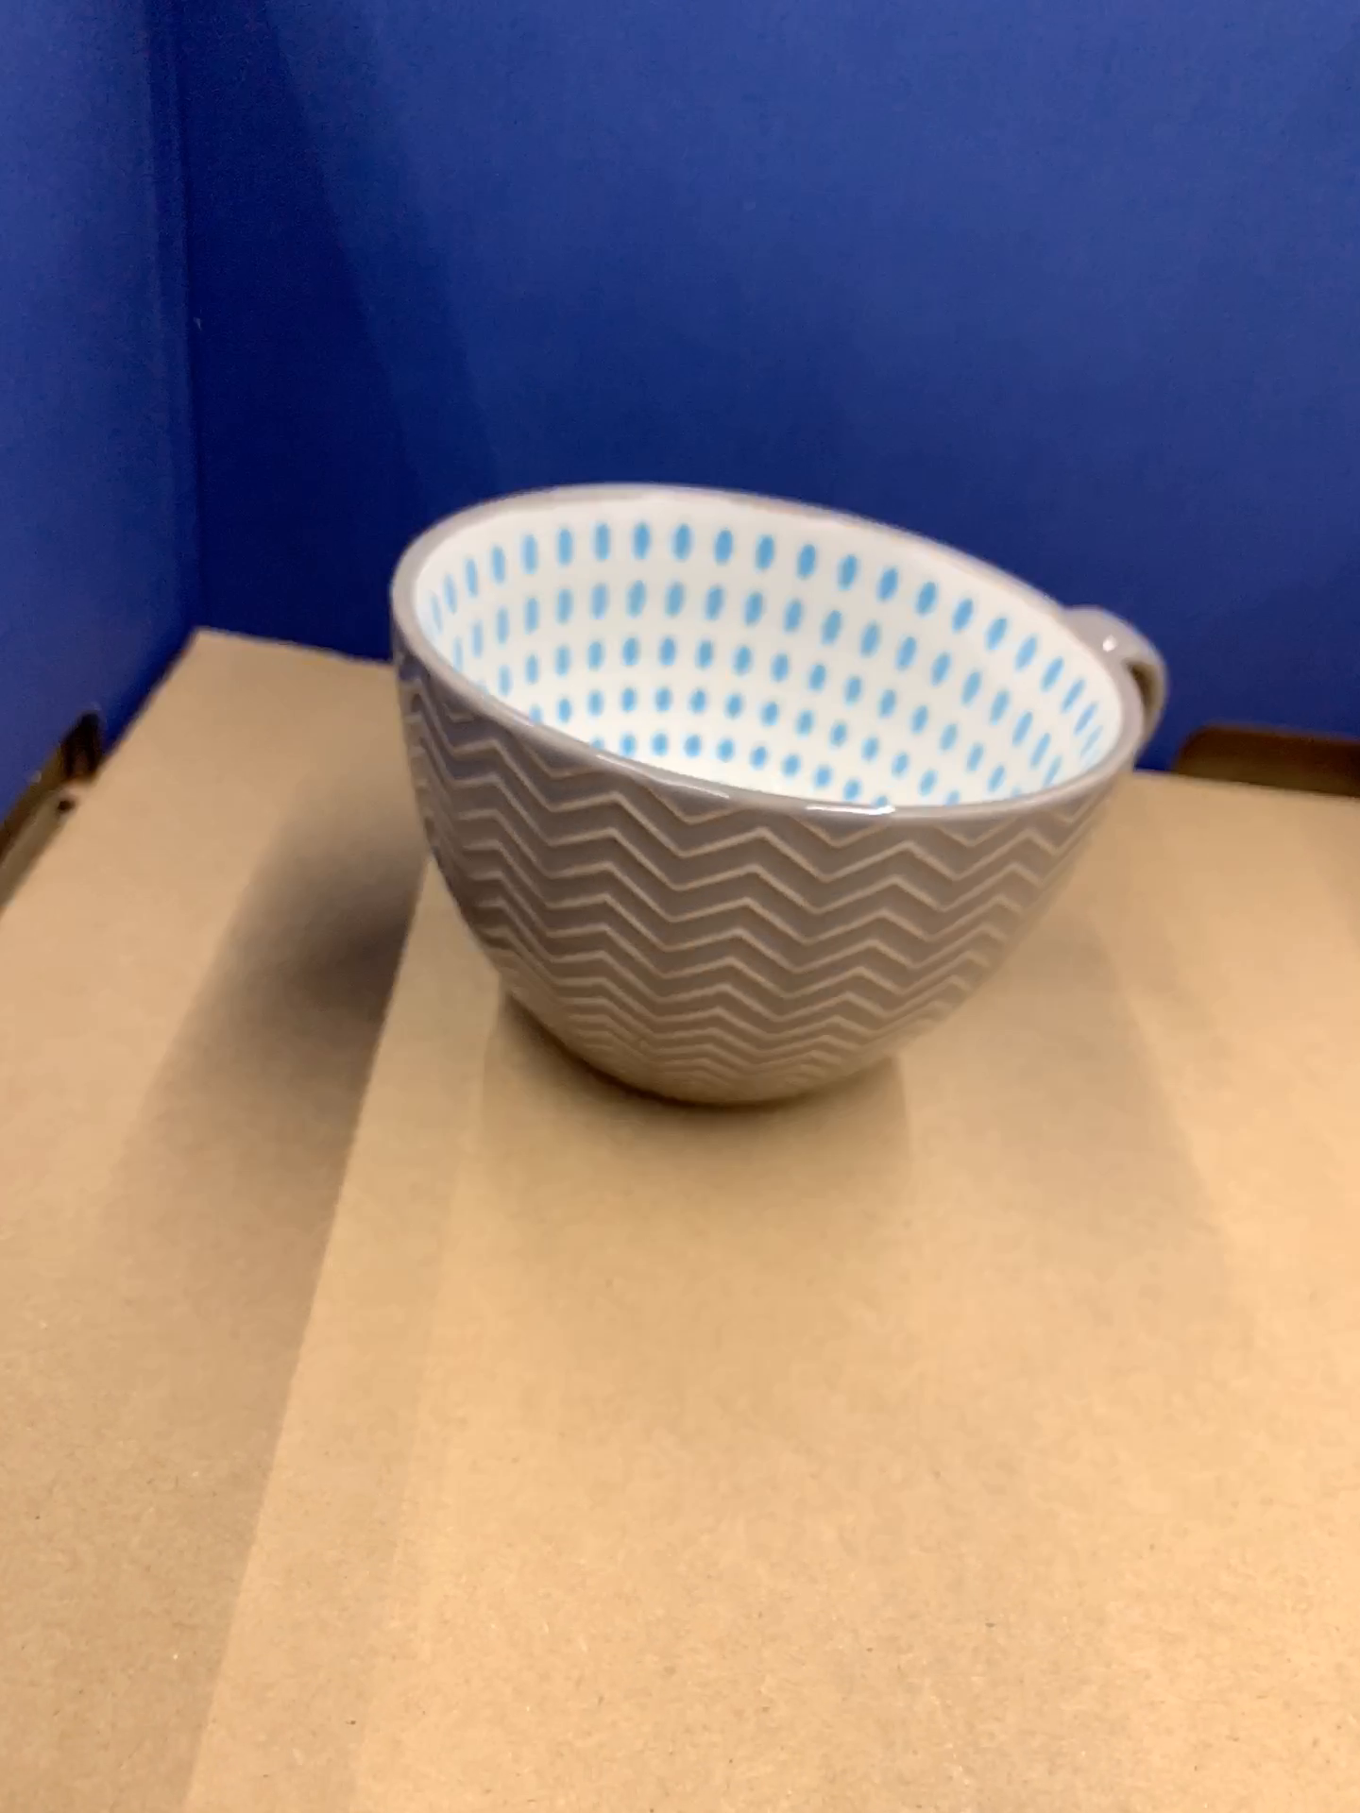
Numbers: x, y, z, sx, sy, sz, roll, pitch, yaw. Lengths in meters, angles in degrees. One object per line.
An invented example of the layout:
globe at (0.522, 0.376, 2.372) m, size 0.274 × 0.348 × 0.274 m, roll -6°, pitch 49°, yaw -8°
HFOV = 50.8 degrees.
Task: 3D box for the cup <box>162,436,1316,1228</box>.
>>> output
cup at (0.010, -0.030, 0.241) m, size 0.150 × 0.058 × 0.109 m, roll -18°, pitch 41°, yaw -36°
